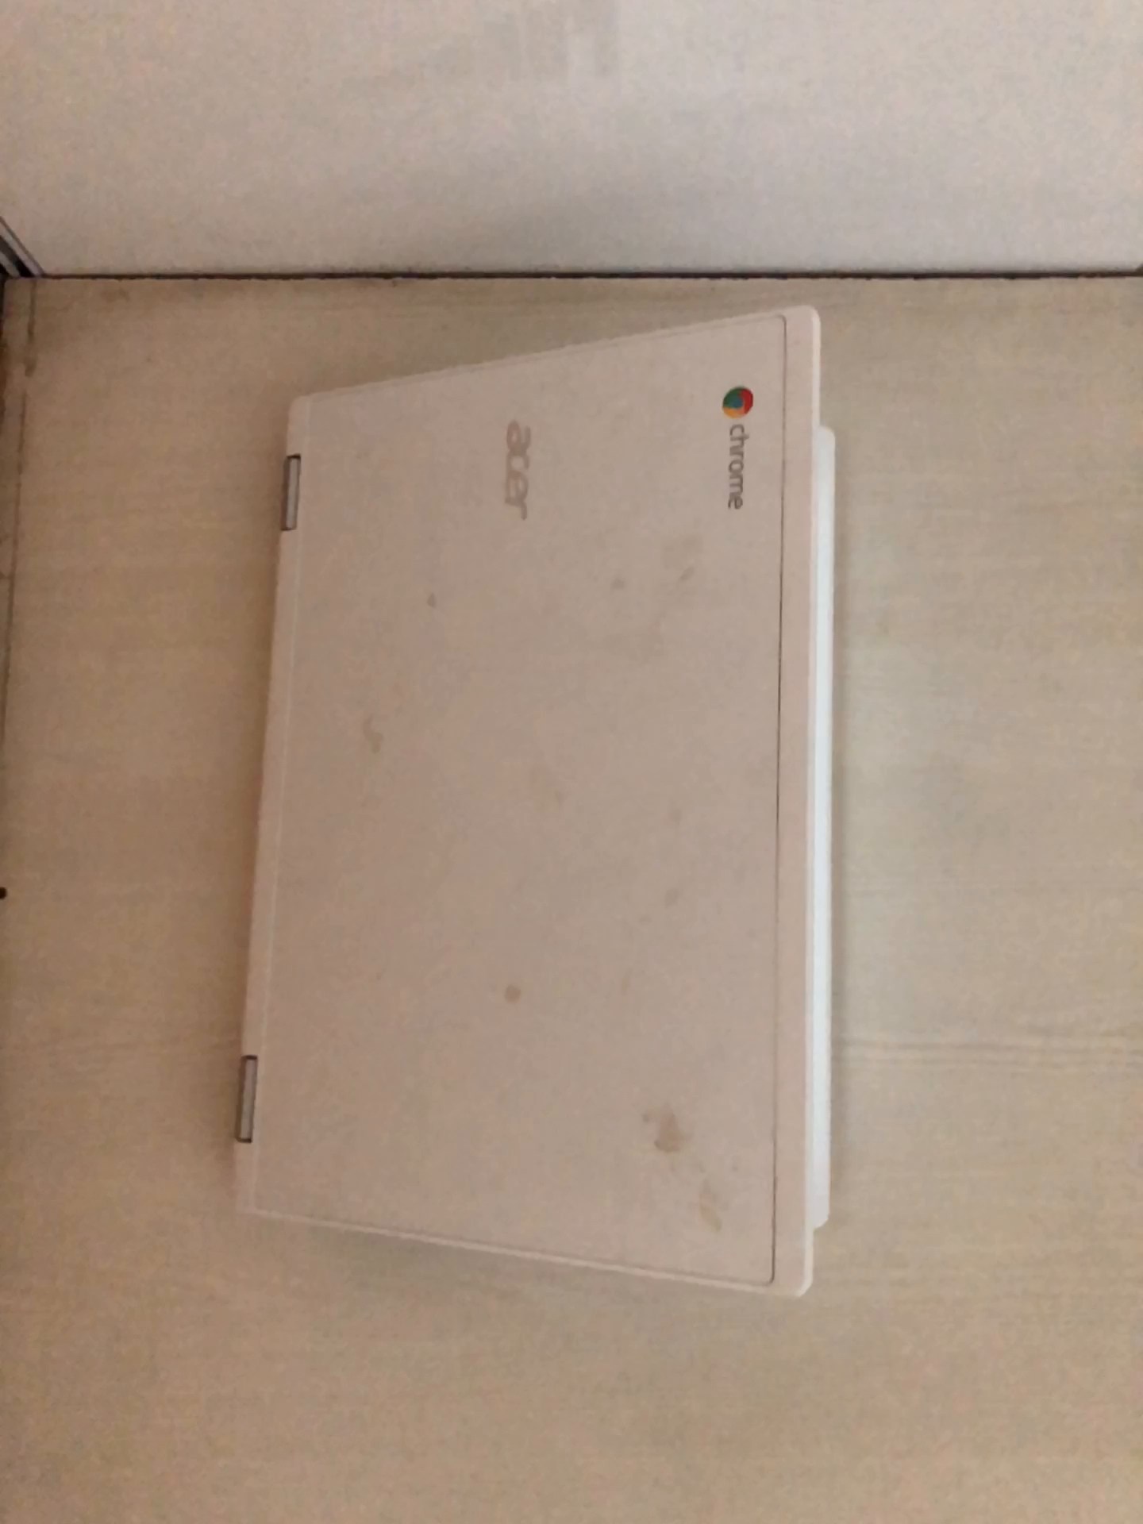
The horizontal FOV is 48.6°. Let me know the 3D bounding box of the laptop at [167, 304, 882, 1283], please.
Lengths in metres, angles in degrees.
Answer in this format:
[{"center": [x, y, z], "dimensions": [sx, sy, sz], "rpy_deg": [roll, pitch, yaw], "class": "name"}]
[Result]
[{"center": [-0.009, 0.007, 0.419], "dimensions": [0.200, 0.093, 0.283], "rpy_deg": [2, 82, 2], "class": "laptop"}]
